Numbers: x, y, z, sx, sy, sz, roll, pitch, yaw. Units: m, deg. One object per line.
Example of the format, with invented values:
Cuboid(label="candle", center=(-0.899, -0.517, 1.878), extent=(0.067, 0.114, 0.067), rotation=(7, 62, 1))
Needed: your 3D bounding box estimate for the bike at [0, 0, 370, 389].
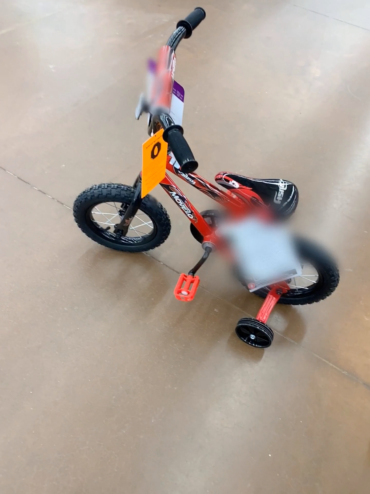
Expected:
Cuboid(label="bike", center=(0.060, -0.124, 0.840), extent=(0.735, 0.604, 0.441), rotation=(18, 51, 5))
